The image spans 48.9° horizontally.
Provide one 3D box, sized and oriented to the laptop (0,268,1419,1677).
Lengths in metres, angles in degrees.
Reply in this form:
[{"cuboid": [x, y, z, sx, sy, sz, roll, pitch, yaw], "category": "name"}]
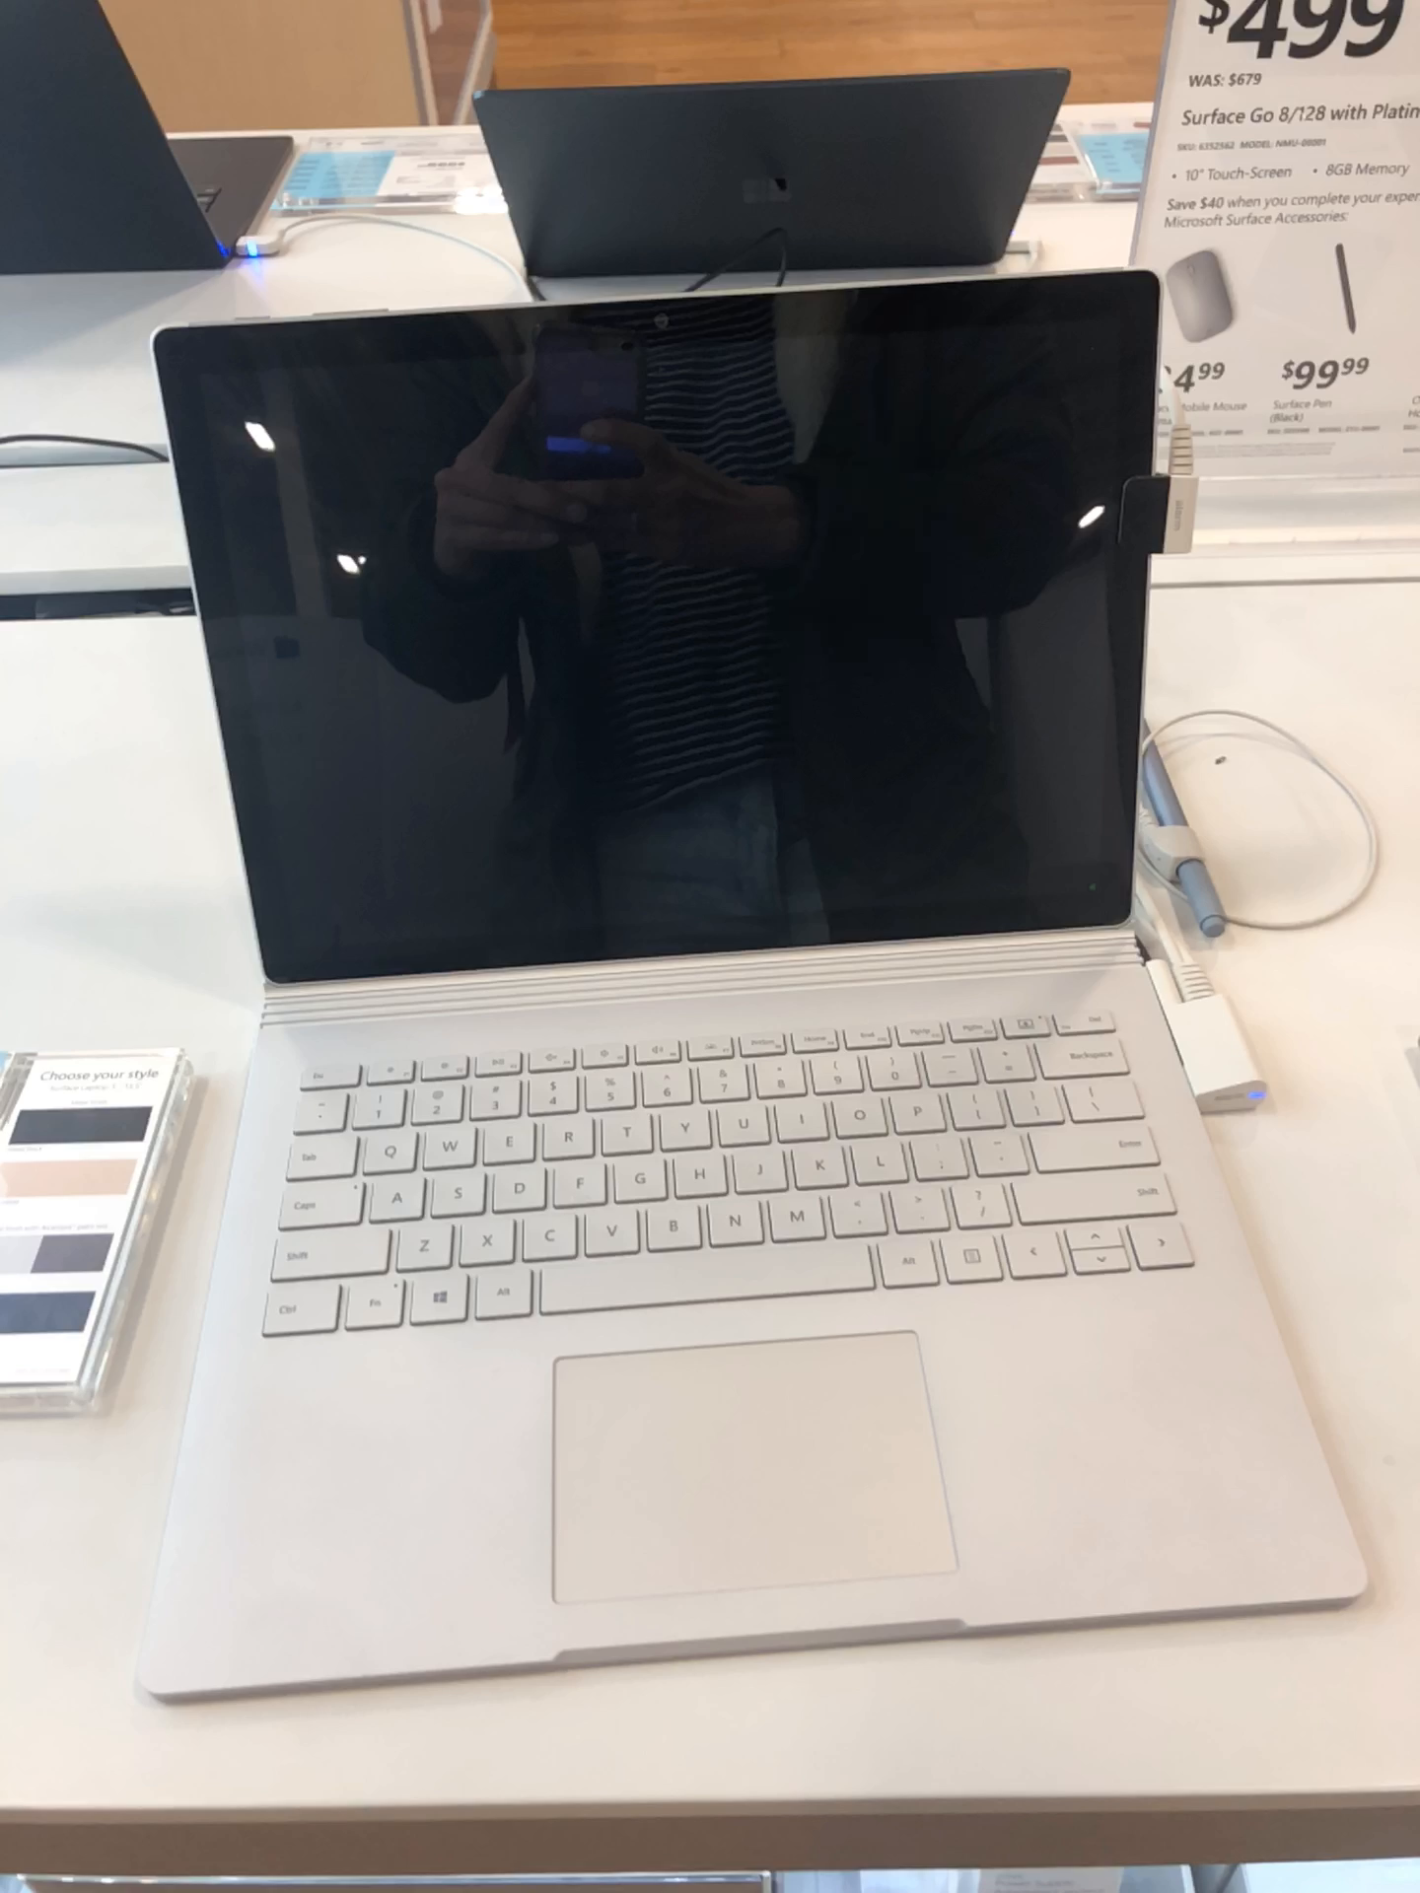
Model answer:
[{"cuboid": [-0.001, -0.014, 0.418, 0.291, 0.191, 0.312, -4, 45, -1], "category": "laptop"}]
